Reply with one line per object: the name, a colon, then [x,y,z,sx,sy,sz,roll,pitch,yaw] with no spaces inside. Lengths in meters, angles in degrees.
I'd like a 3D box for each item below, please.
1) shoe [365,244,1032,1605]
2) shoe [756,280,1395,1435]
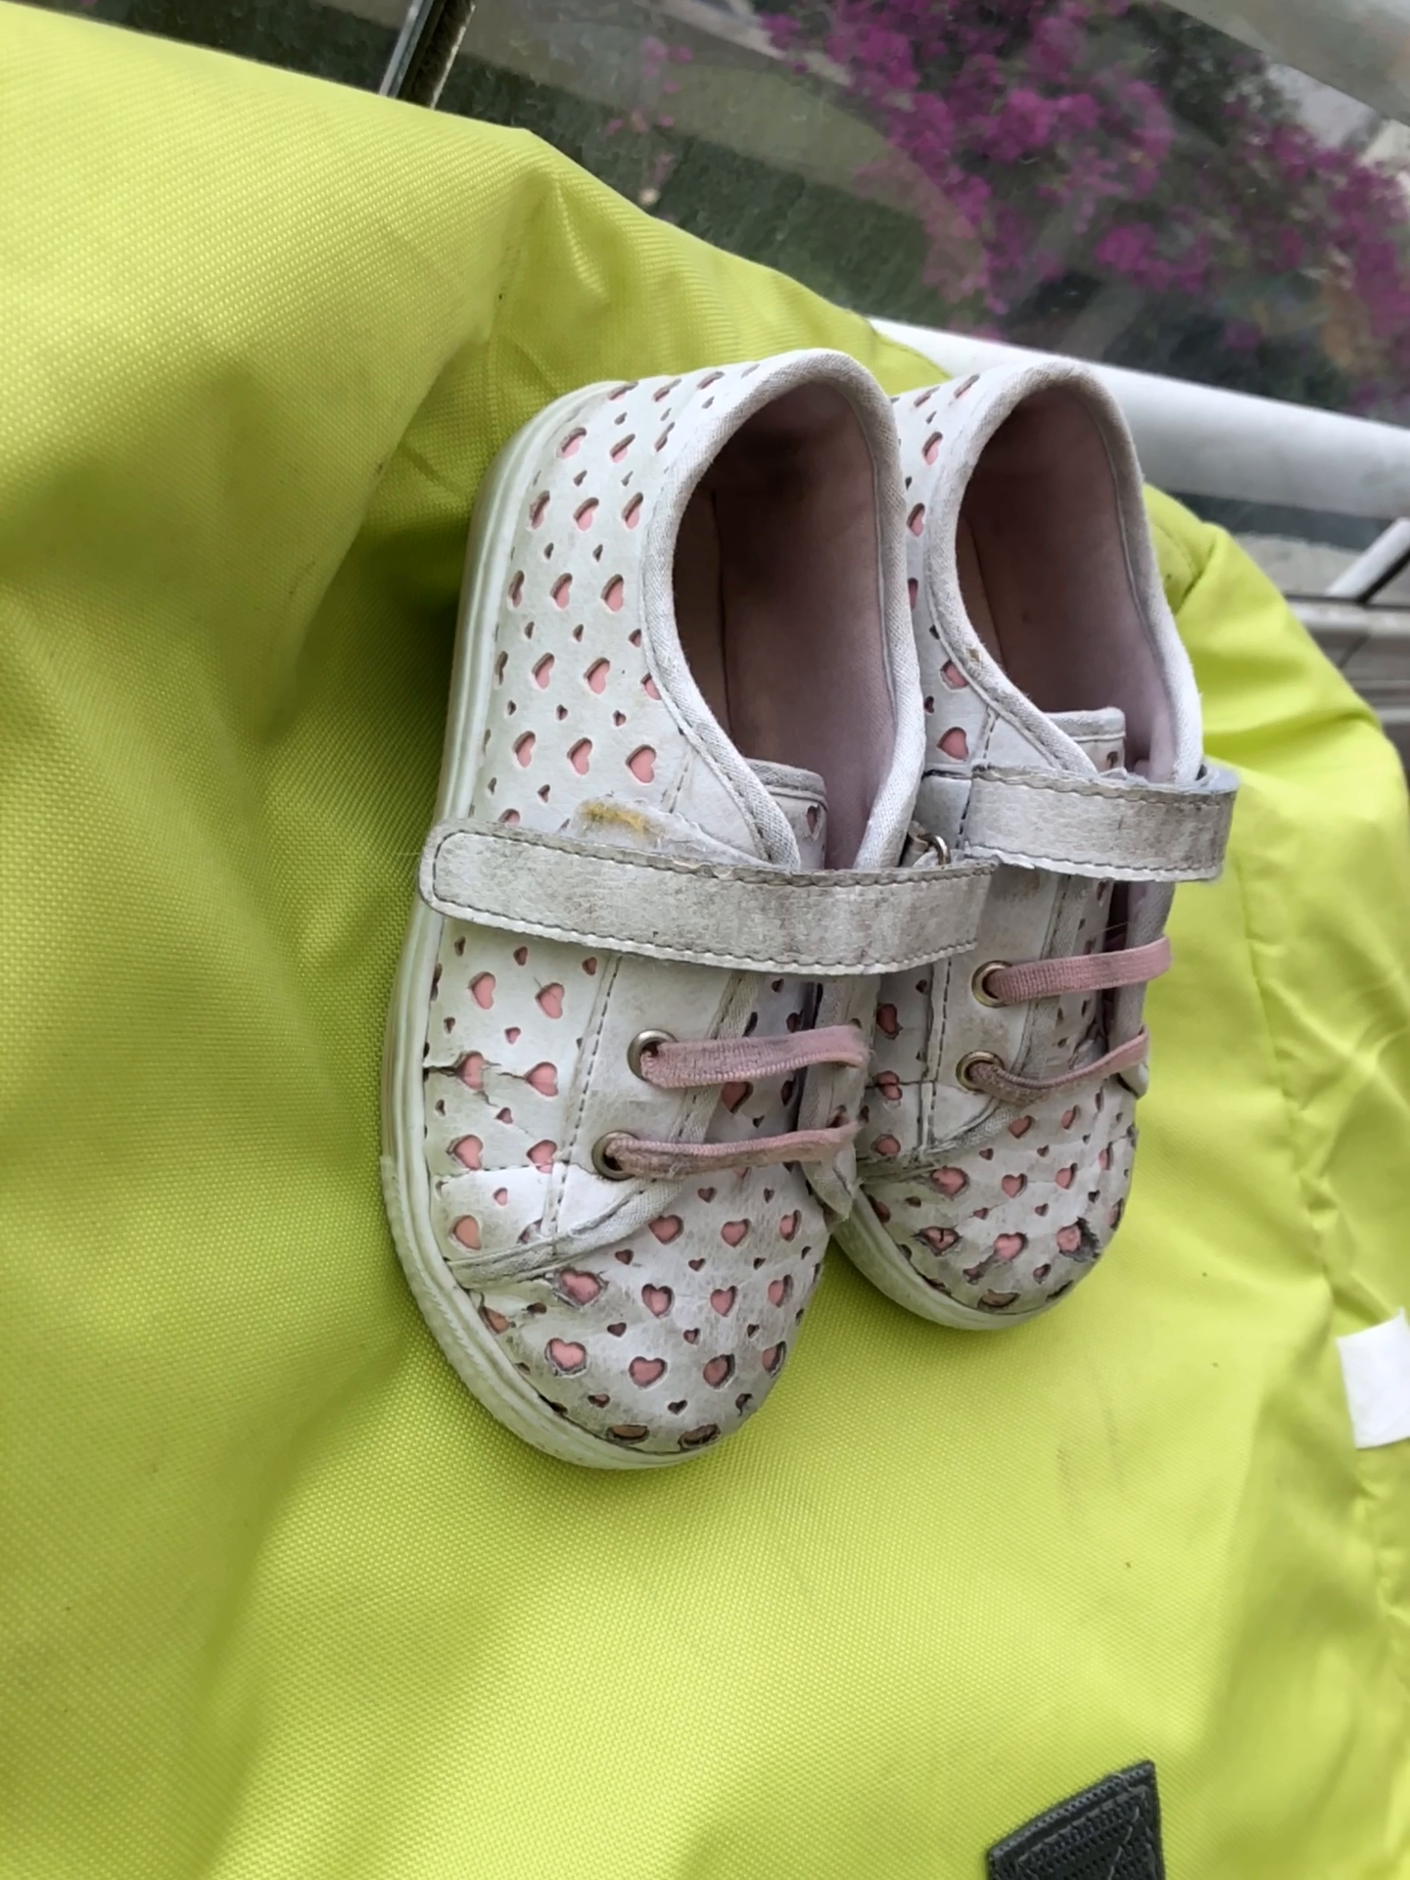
shoe: [-0.001,-0.002,0.250,0.081,0.060,0.176,2,90,-36]
shoe: [0.069,-0.015,0.286,0.081,0.060,0.176,-8,92,-41]
